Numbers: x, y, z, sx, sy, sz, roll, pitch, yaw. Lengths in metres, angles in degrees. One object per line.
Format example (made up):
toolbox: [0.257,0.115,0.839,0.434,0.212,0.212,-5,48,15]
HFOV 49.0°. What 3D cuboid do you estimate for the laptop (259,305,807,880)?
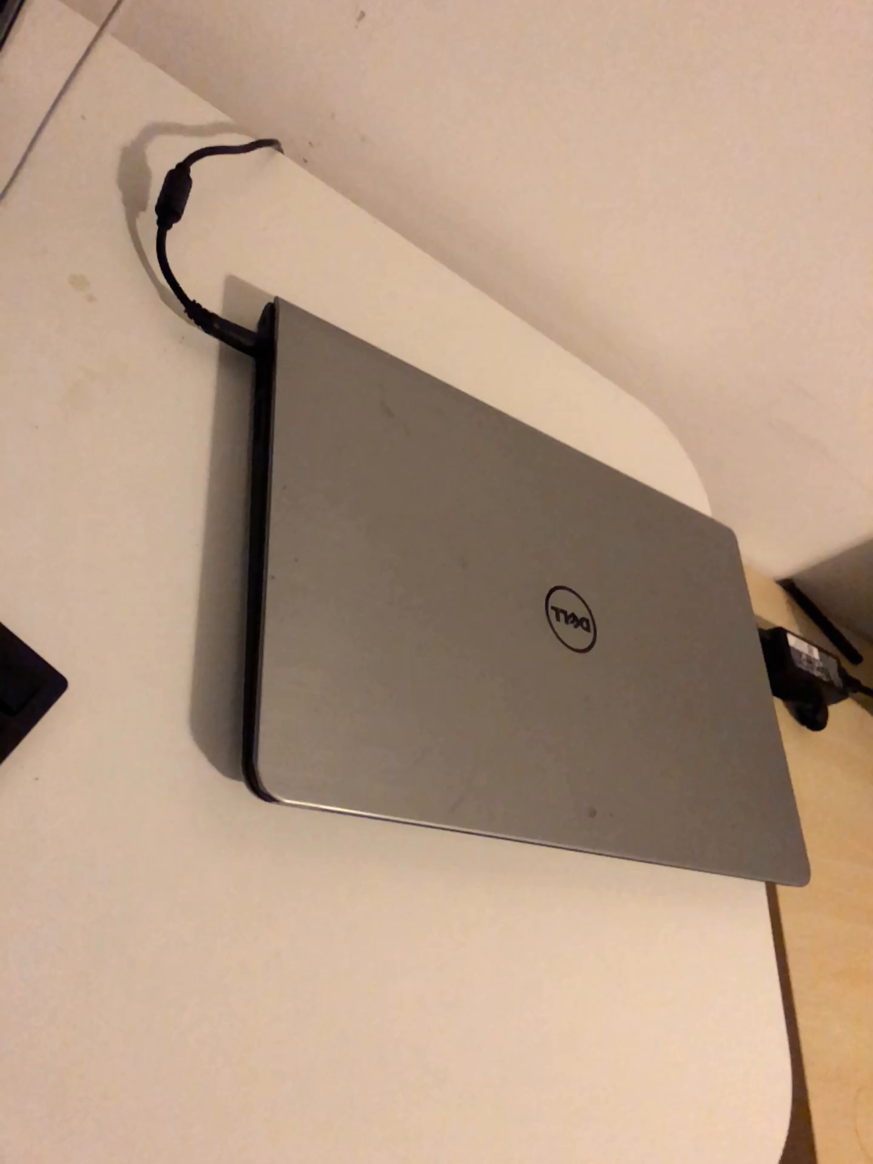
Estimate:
laptop: [0.072,0.019,0.534,0.372,0.001,0.247,19,55,-34]
